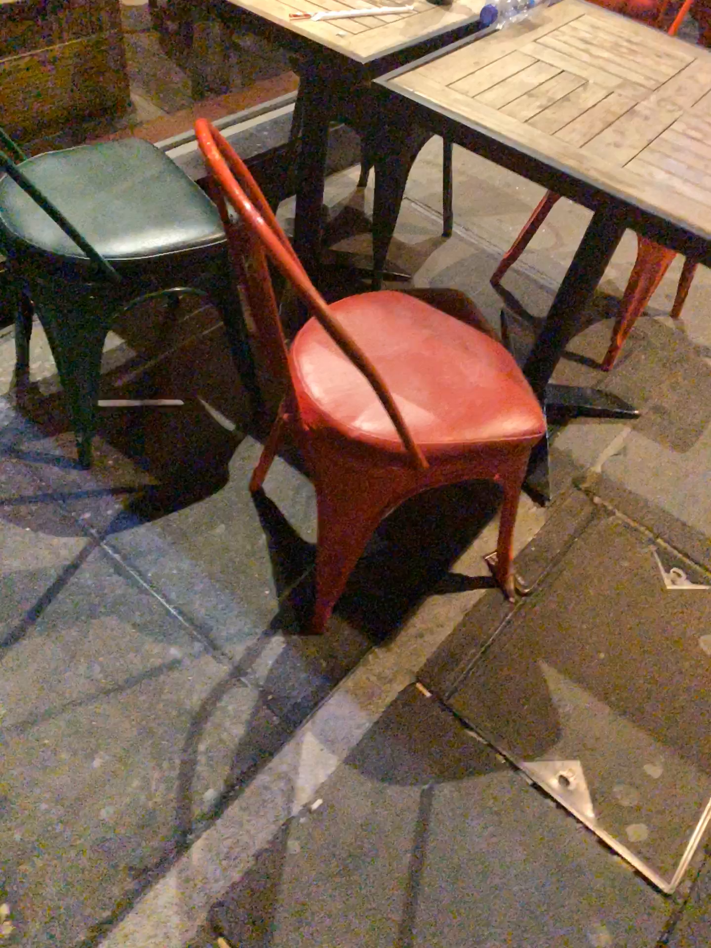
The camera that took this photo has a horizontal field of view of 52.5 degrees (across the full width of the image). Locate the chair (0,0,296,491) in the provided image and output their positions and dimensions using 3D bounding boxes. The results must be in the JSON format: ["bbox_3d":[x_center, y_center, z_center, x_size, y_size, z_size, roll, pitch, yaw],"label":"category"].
[{"bbox_3d":[-0.439,-0.445,1.292,0.511,0.833,0.433,-22,62,-19],"label":"chair"}]

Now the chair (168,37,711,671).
[{"bbox_3d":[0.053,-0.142,1.130,0.511,0.813,0.433,-15,54,-19],"label":"chair"}]
